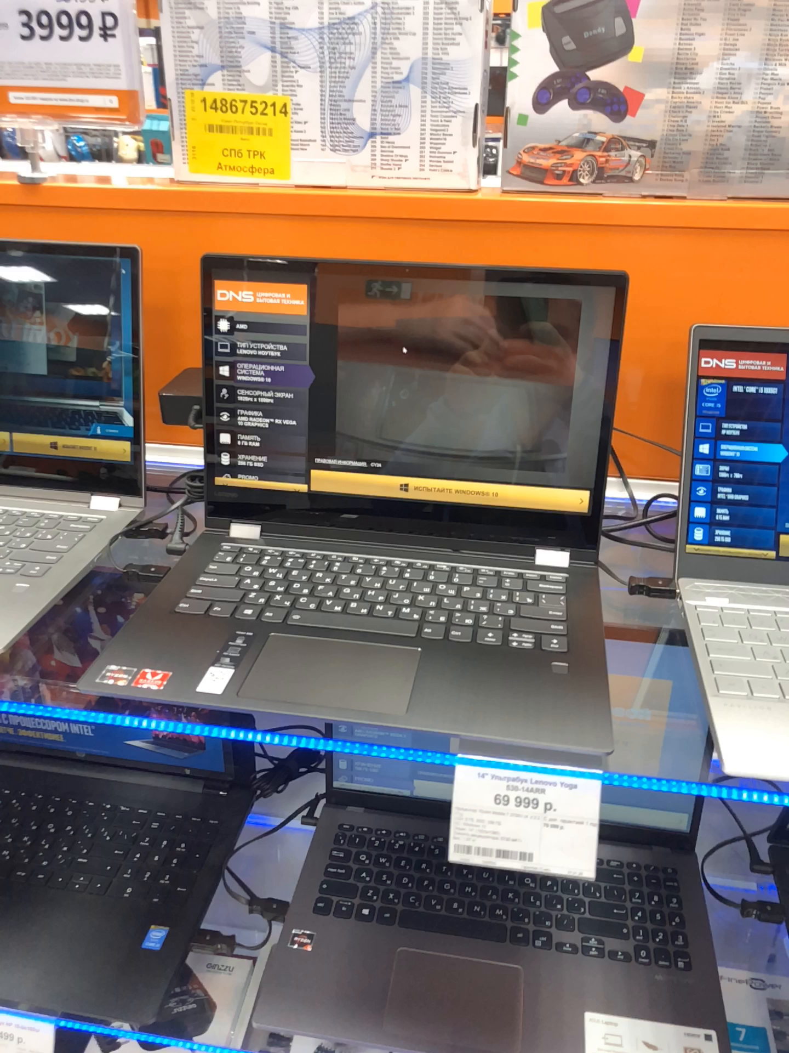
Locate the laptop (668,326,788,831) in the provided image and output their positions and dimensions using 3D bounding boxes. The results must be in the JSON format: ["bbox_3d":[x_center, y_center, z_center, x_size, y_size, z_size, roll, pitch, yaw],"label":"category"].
[{"bbox_3d":[0.365,-0.001,0.558,0.315,0.161,0.311,4,28,8],"label":"laptop"}]

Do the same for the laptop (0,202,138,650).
[{"bbox_3d":[-0.394,-0.099,0.658,0.284,0.202,0.287,5,29,3],"label":"laptop"}]

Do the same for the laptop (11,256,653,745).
[{"bbox_3d":[-0.018,-0.042,0.581,0.319,0.215,0.256,5,27,8],"label":"laptop"}]
